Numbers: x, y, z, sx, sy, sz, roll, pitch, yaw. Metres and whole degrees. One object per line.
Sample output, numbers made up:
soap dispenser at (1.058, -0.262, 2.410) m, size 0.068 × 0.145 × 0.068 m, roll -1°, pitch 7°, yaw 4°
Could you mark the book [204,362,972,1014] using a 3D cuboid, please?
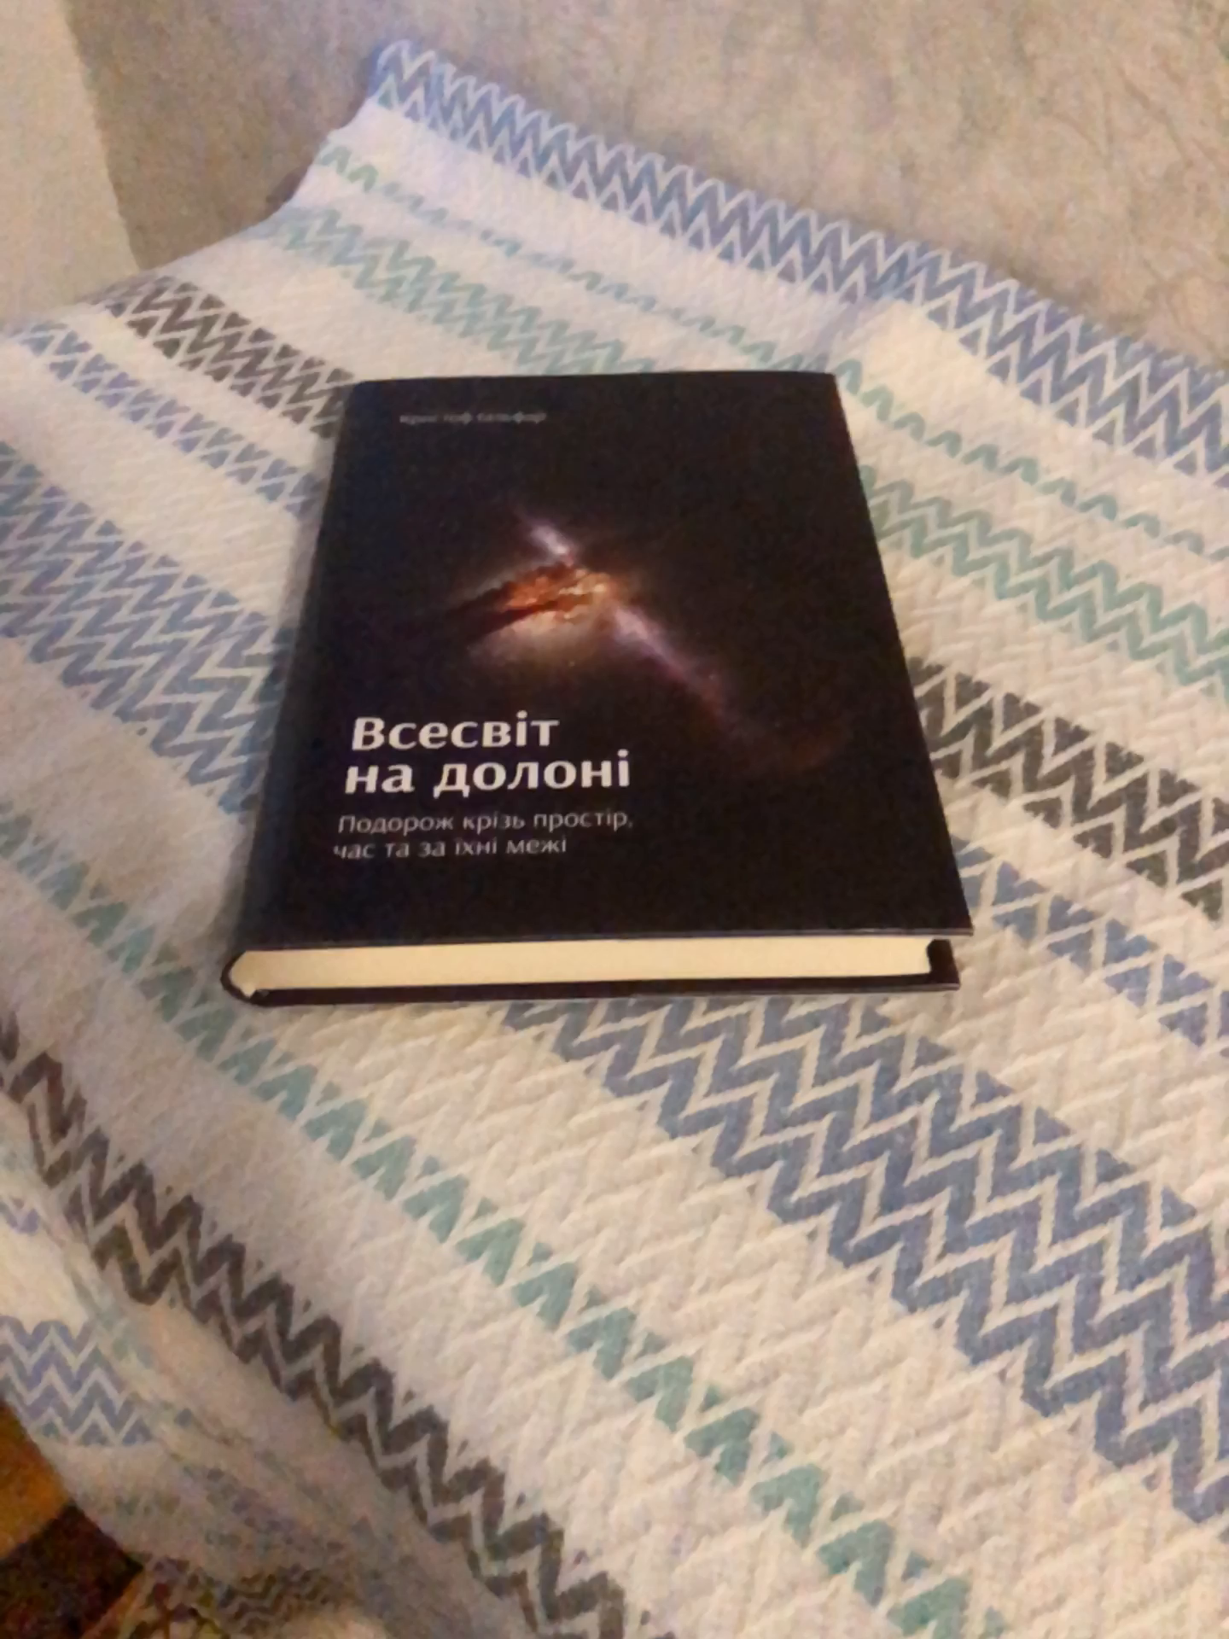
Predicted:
book at (-0.008, -0.052, 0.372) m, size 0.161 × 0.030 × 0.226 m, roll -1°, pitch 48°, yaw -1°
